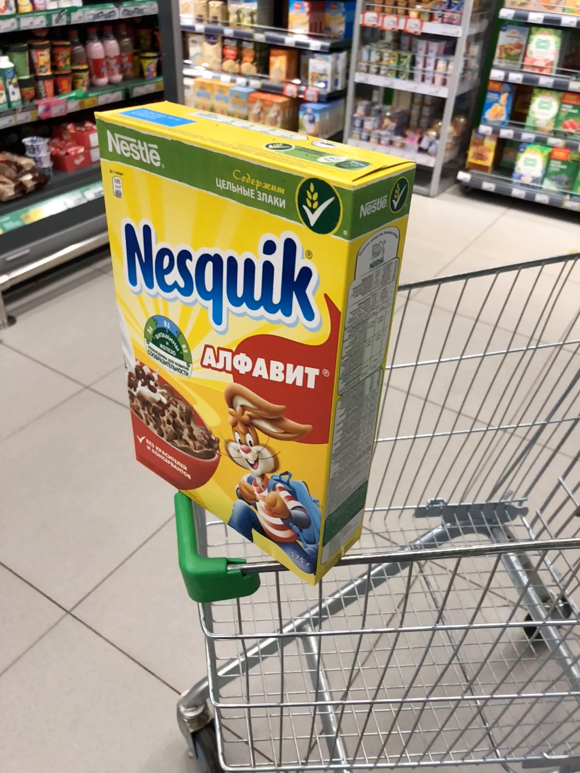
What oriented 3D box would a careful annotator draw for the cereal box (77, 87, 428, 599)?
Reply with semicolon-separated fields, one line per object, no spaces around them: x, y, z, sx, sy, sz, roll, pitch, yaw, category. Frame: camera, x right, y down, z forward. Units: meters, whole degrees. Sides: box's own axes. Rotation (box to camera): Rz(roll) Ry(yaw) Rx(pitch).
-0.036;-0.024;0.428;0.200;0.288;0.060;27;40;29;cereal box
